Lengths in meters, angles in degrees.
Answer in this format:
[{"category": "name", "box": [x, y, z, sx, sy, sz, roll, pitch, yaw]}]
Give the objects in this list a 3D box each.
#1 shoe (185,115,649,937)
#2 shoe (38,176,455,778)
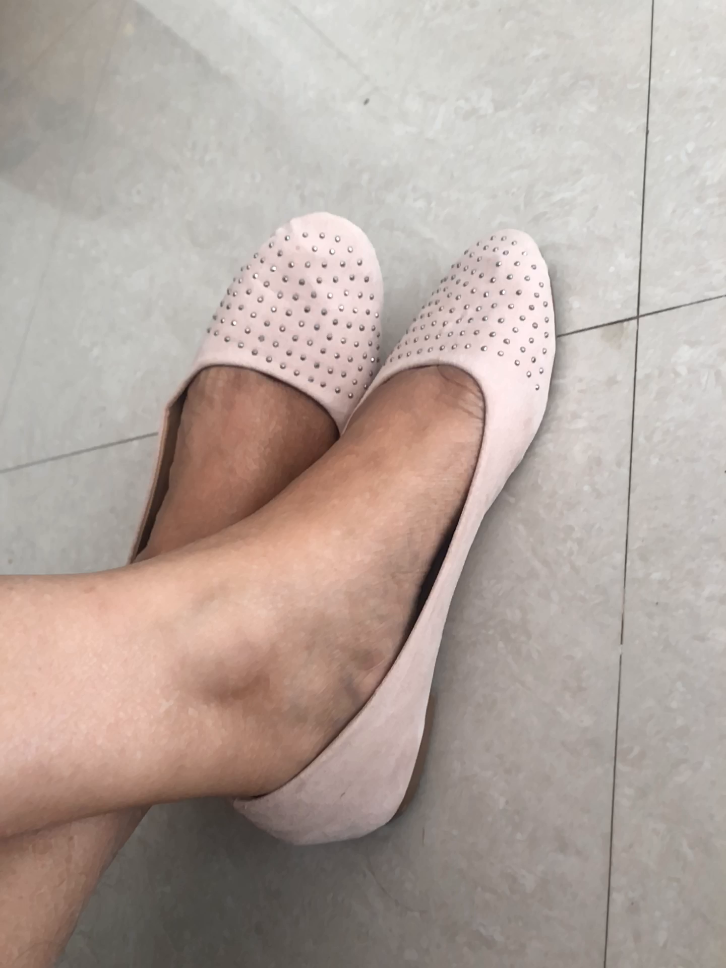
[{"category": "shoe", "box": [0.028, 0.010, 0.316, 0.101, 0.079, 0.270, -1, 71, 45]}, {"category": "shoe", "box": [-0.052, -0.002, 0.372, 0.060, 0.090, 0.240, -127, 61, -84]}]
